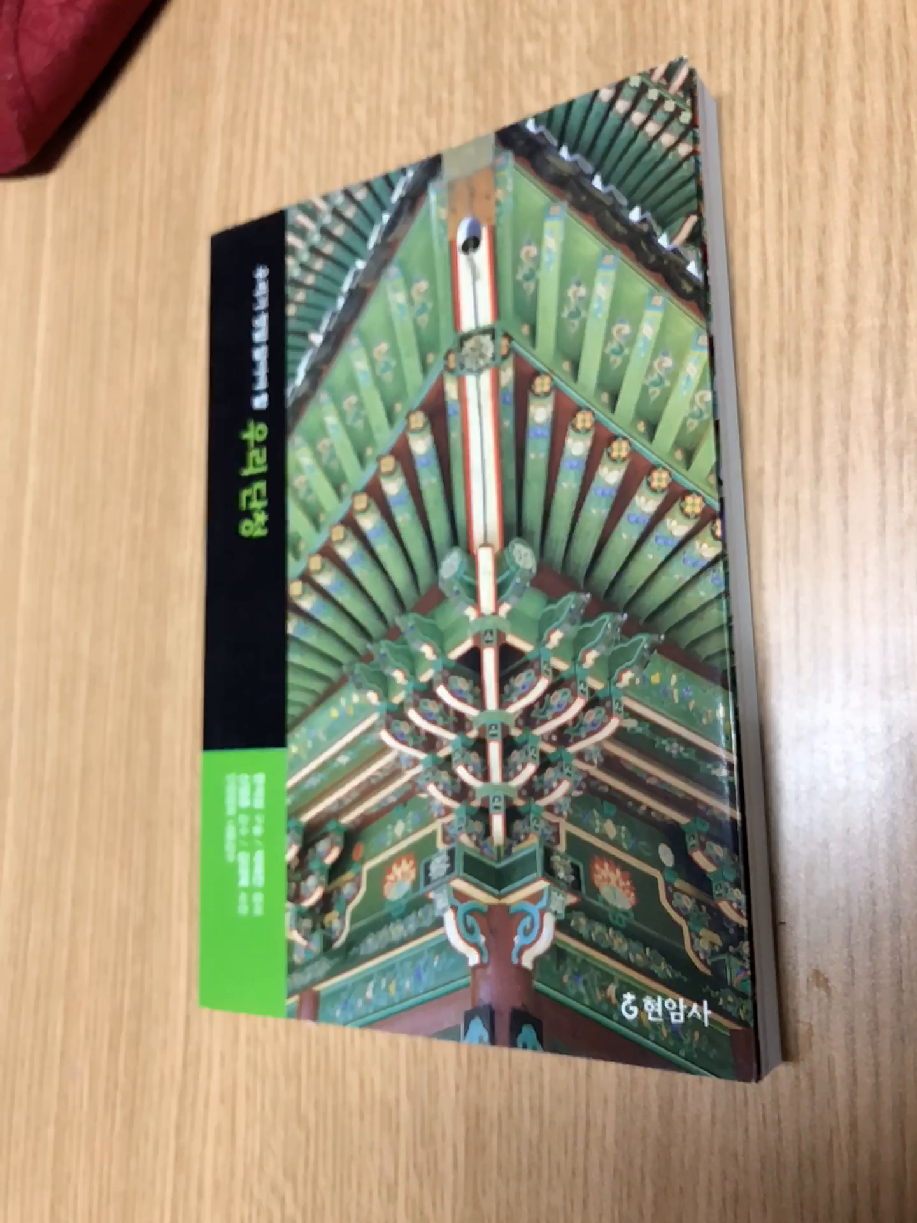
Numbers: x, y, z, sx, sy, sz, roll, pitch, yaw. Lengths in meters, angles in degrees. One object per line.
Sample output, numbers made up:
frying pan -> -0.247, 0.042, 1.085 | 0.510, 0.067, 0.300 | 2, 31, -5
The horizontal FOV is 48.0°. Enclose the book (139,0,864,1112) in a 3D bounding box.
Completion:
book -> -0.003, -0.012, 0.237 | 0.161, 0.030, 0.210 | -6, 81, 29
